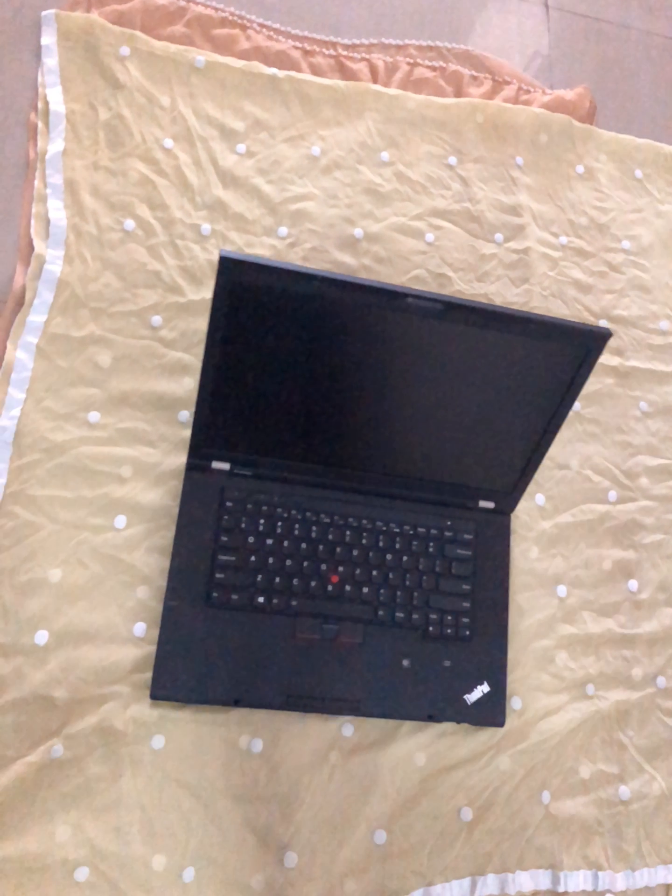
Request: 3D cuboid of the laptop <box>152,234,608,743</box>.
[{"bbox_3d":[0.039,0.057,0.707,0.363,0.192,0.381,9,76,-12],"label":"laptop"}]
